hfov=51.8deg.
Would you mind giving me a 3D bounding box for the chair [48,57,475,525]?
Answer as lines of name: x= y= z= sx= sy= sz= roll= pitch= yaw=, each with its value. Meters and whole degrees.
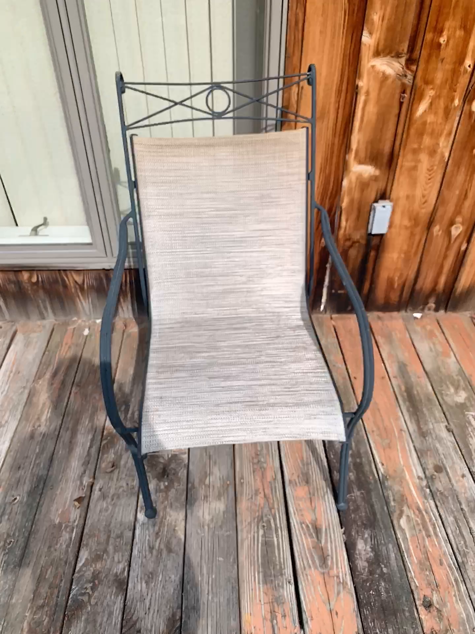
chair: x=0.022 y=-0.051 z=1.232 sx=0.610 sy=0.944 sz=0.654 roll=-3 pitch=39 yaw=-3
